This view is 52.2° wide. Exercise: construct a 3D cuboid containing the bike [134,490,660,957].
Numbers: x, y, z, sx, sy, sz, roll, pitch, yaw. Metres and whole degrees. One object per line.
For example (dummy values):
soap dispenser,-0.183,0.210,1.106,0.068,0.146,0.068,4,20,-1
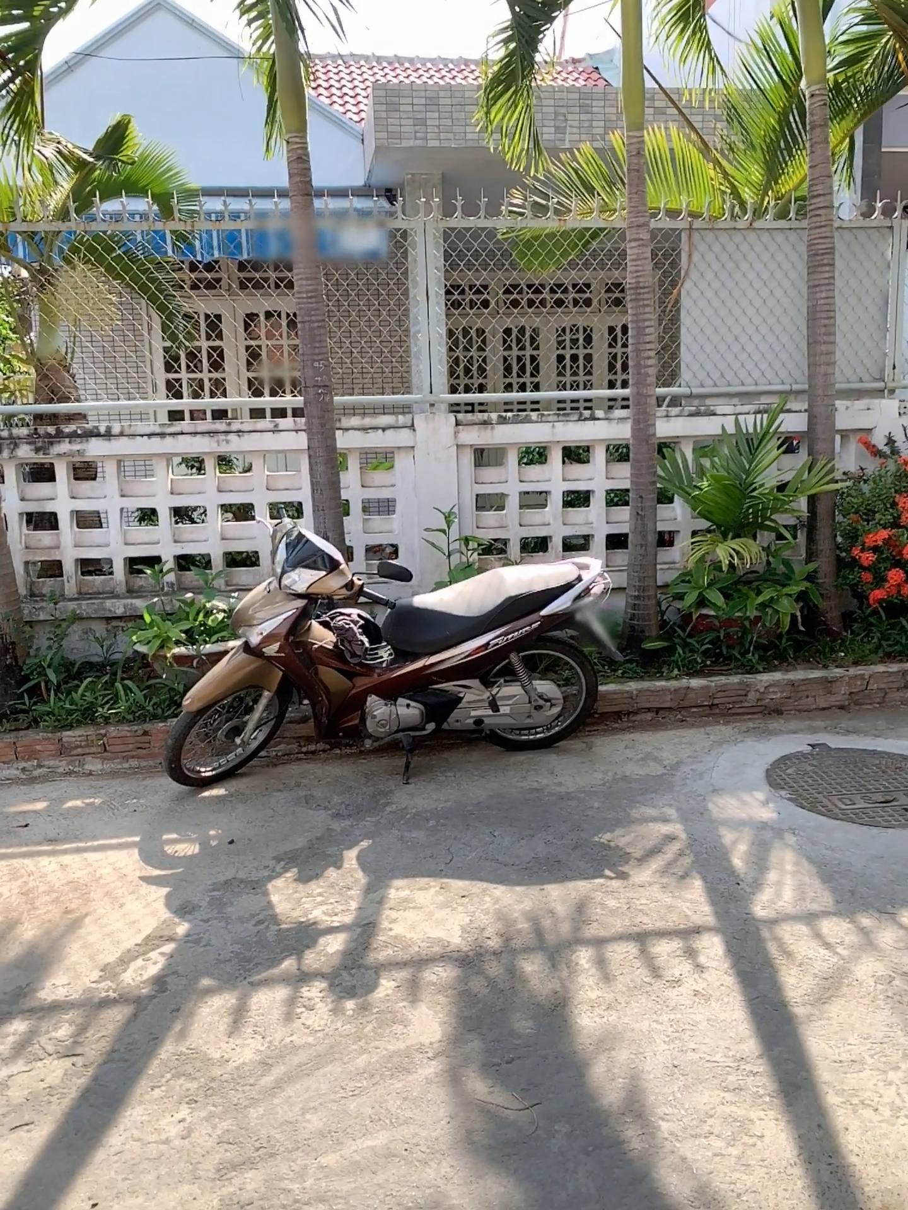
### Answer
bike,-0.155,0.339,3.714,1.974,1.445,0.613,-6,10,-21
